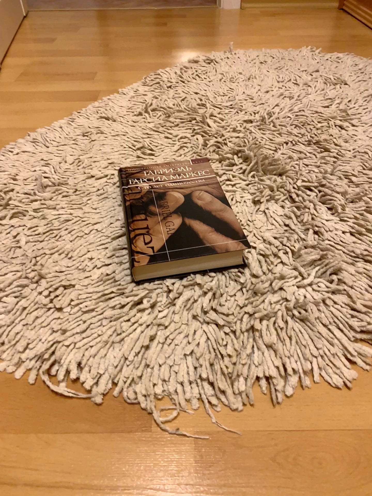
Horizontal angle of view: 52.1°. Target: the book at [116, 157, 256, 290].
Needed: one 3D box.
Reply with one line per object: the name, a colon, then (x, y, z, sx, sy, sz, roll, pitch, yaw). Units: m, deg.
book: (-0.012, -0.045, 0.493, 0.140, 0.030, 0.212, -8, 43, -8)
